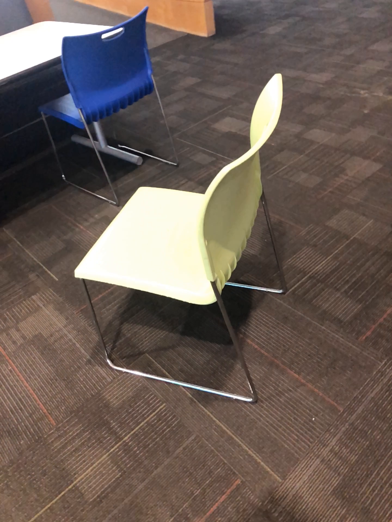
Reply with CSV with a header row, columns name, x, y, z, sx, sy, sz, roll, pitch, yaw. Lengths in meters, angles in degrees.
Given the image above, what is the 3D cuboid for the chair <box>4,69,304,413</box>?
name,x,y,z,sx,sy,sz,roll,pitch,yaw
chair,-0.014,-0.065,1.253,0.541,0.756,0.542,7,43,20
